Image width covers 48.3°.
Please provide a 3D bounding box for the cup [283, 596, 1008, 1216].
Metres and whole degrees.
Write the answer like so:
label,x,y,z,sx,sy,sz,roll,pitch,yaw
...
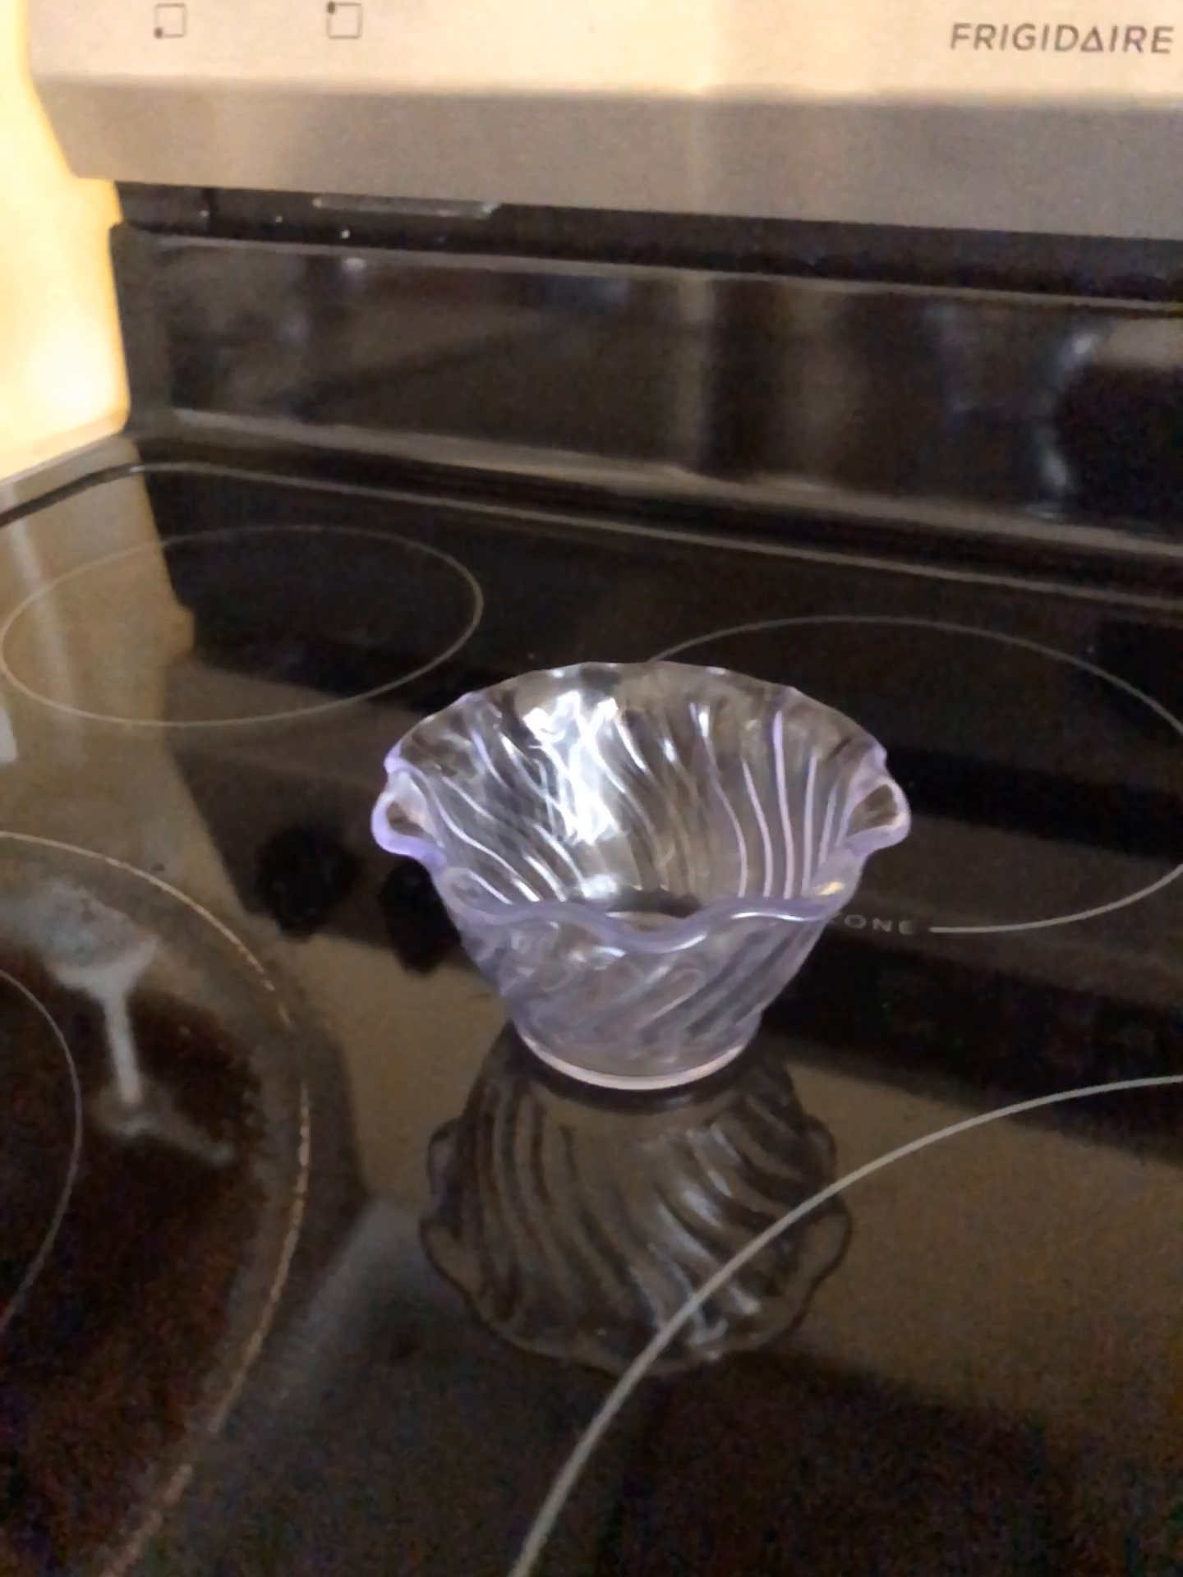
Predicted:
label,x,y,z,sx,sy,sz,roll,pitch,yaw
cup,0.008,0.012,0.245,0.090,0.049,0.091,-1,31,0
